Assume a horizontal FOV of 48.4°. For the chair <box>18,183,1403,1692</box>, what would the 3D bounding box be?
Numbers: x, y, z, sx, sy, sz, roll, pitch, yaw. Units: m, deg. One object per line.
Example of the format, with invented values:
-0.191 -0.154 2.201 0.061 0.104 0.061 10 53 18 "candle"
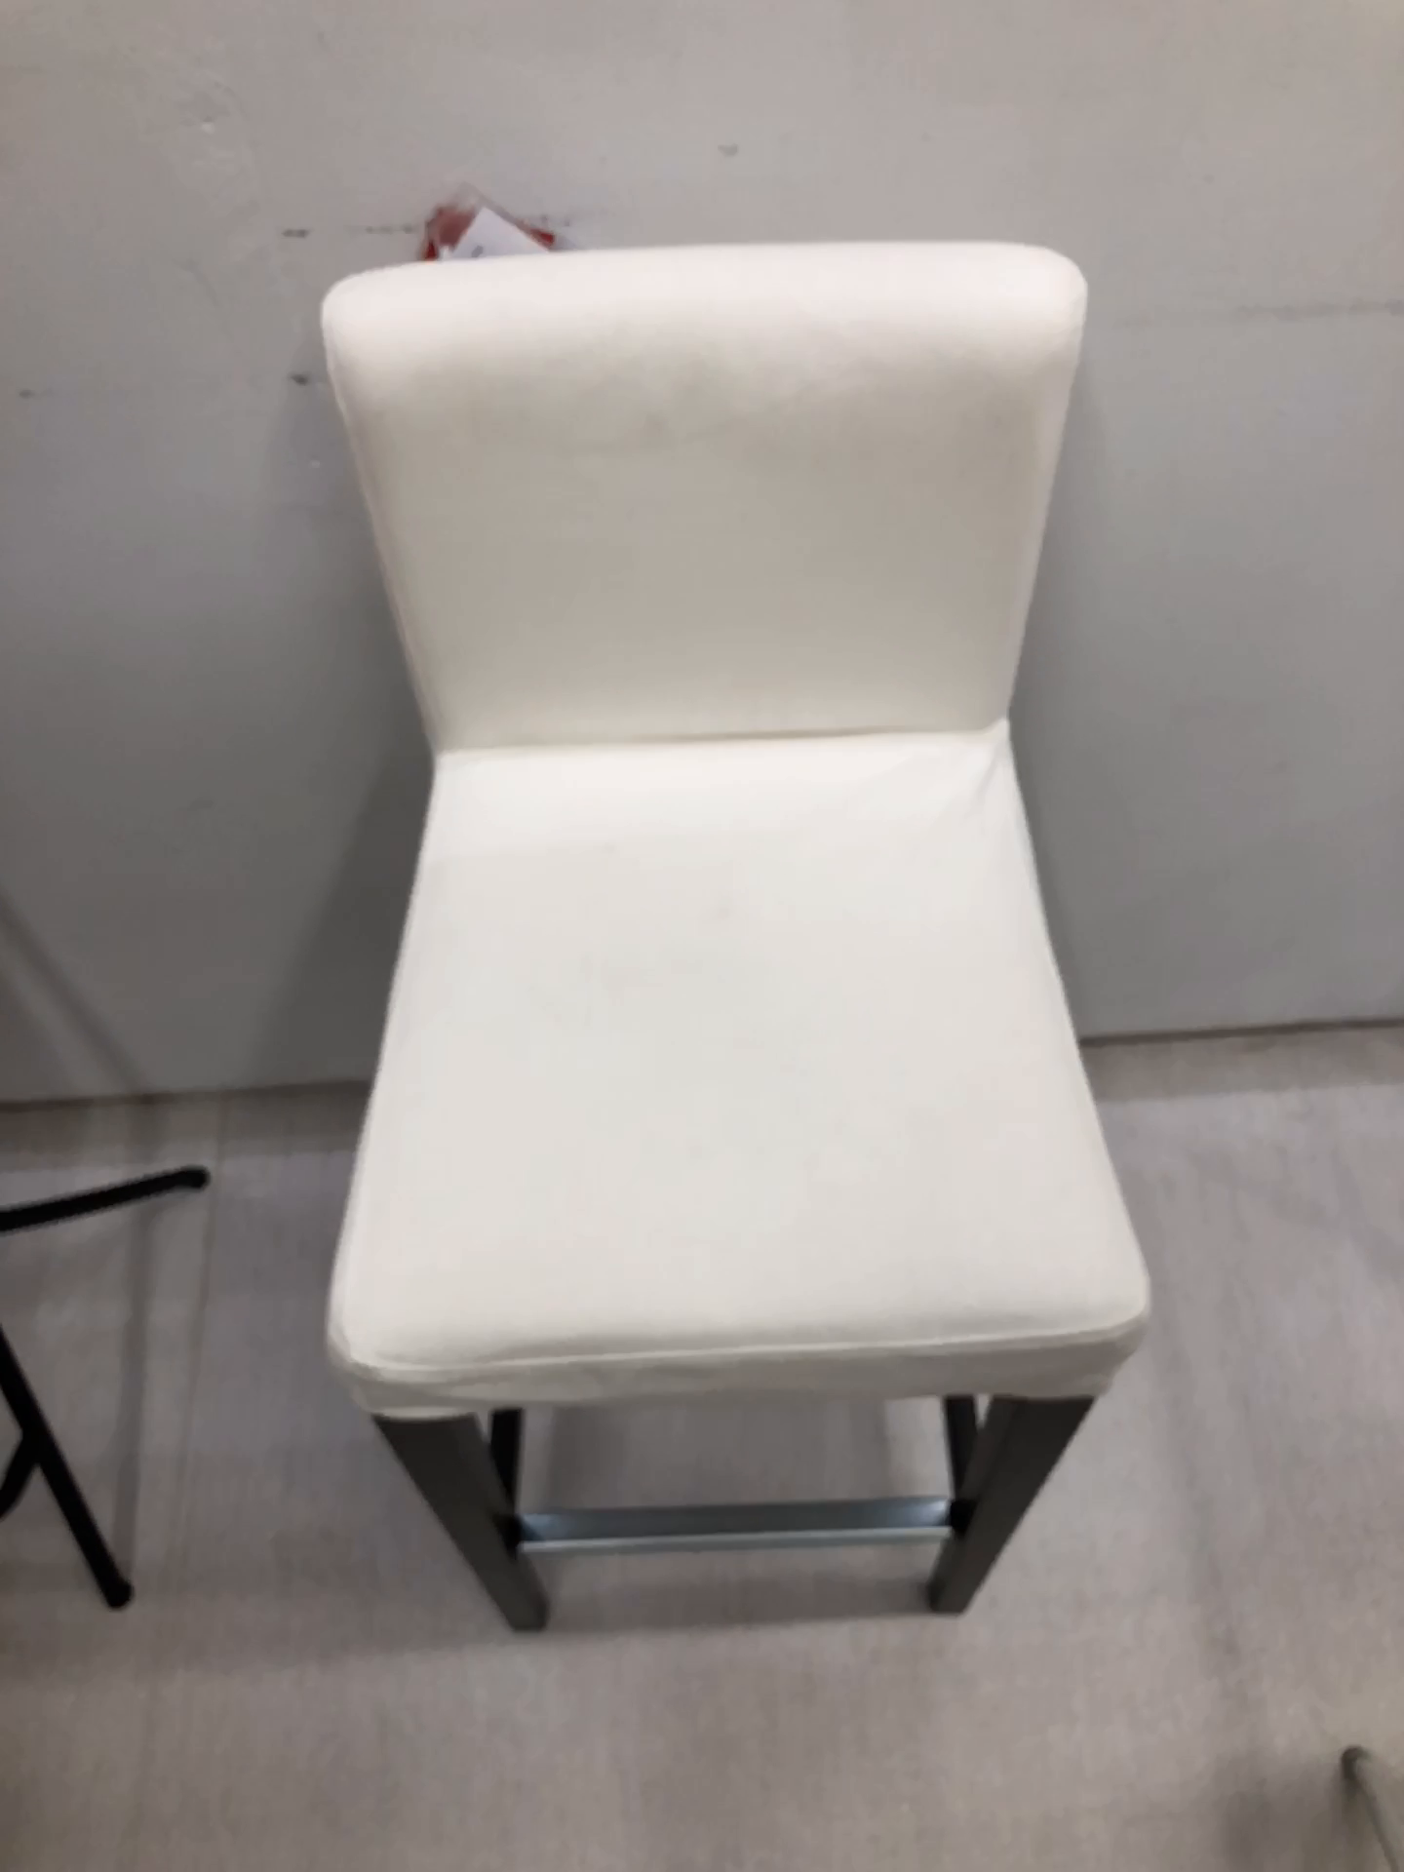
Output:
0.020 0.105 0.965 0.440 0.856 0.533 -3 57 0 "chair"
